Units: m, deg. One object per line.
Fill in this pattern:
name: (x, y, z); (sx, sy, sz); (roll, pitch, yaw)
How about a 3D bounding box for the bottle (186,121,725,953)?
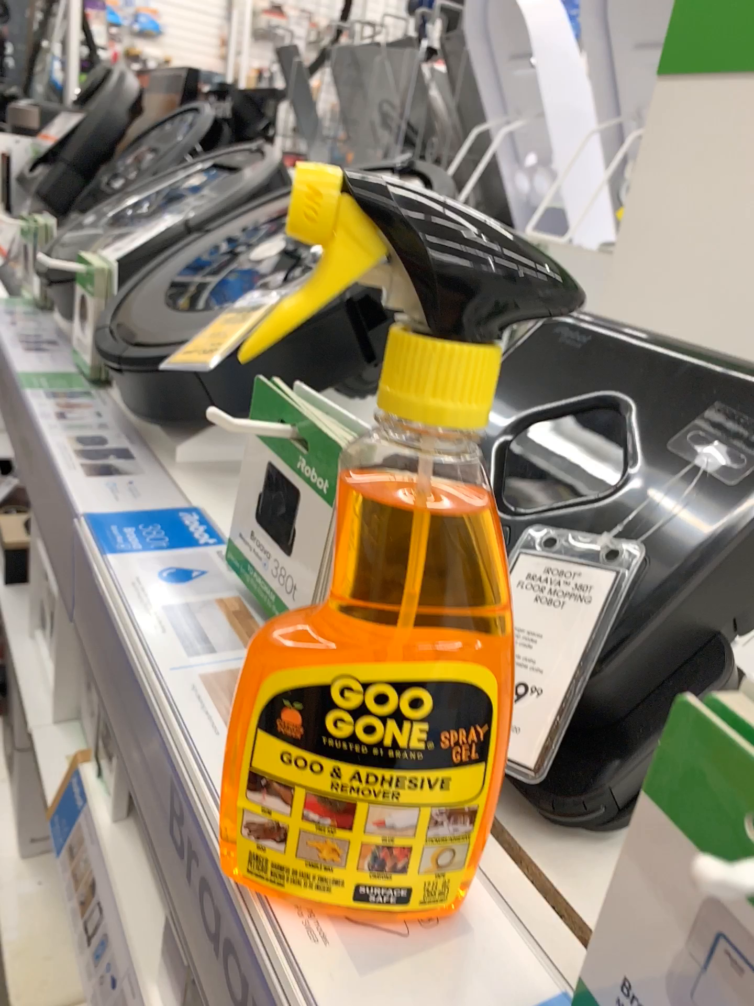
bottle: (0.008, 0.022, 0.230); (0.100, 0.226, 0.050); (9, 22, -2)
